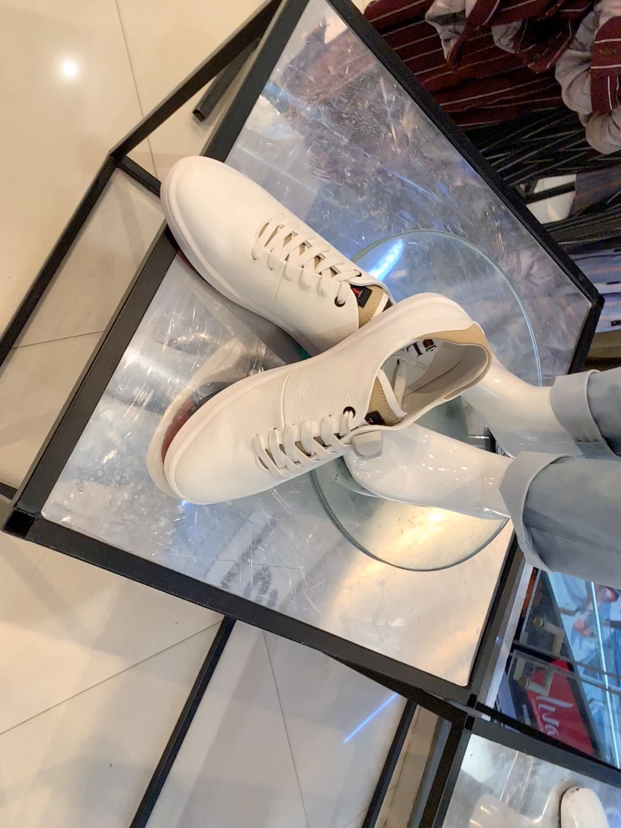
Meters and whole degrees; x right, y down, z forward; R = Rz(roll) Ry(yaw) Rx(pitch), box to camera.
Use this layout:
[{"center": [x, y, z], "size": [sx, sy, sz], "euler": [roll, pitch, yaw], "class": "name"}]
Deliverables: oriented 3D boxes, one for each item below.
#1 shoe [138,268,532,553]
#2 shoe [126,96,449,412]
[{"center": [0.028, -0.011, 0.517], "size": [0.301, 0.080, 0.100], "euler": [-23, 123, -12], "class": "shoe"}, {"center": [-0.010, -0.126, 0.592], "size": [0.291, 0.100, 0.100], "euler": [40, 69, -29], "class": "shoe"}]
